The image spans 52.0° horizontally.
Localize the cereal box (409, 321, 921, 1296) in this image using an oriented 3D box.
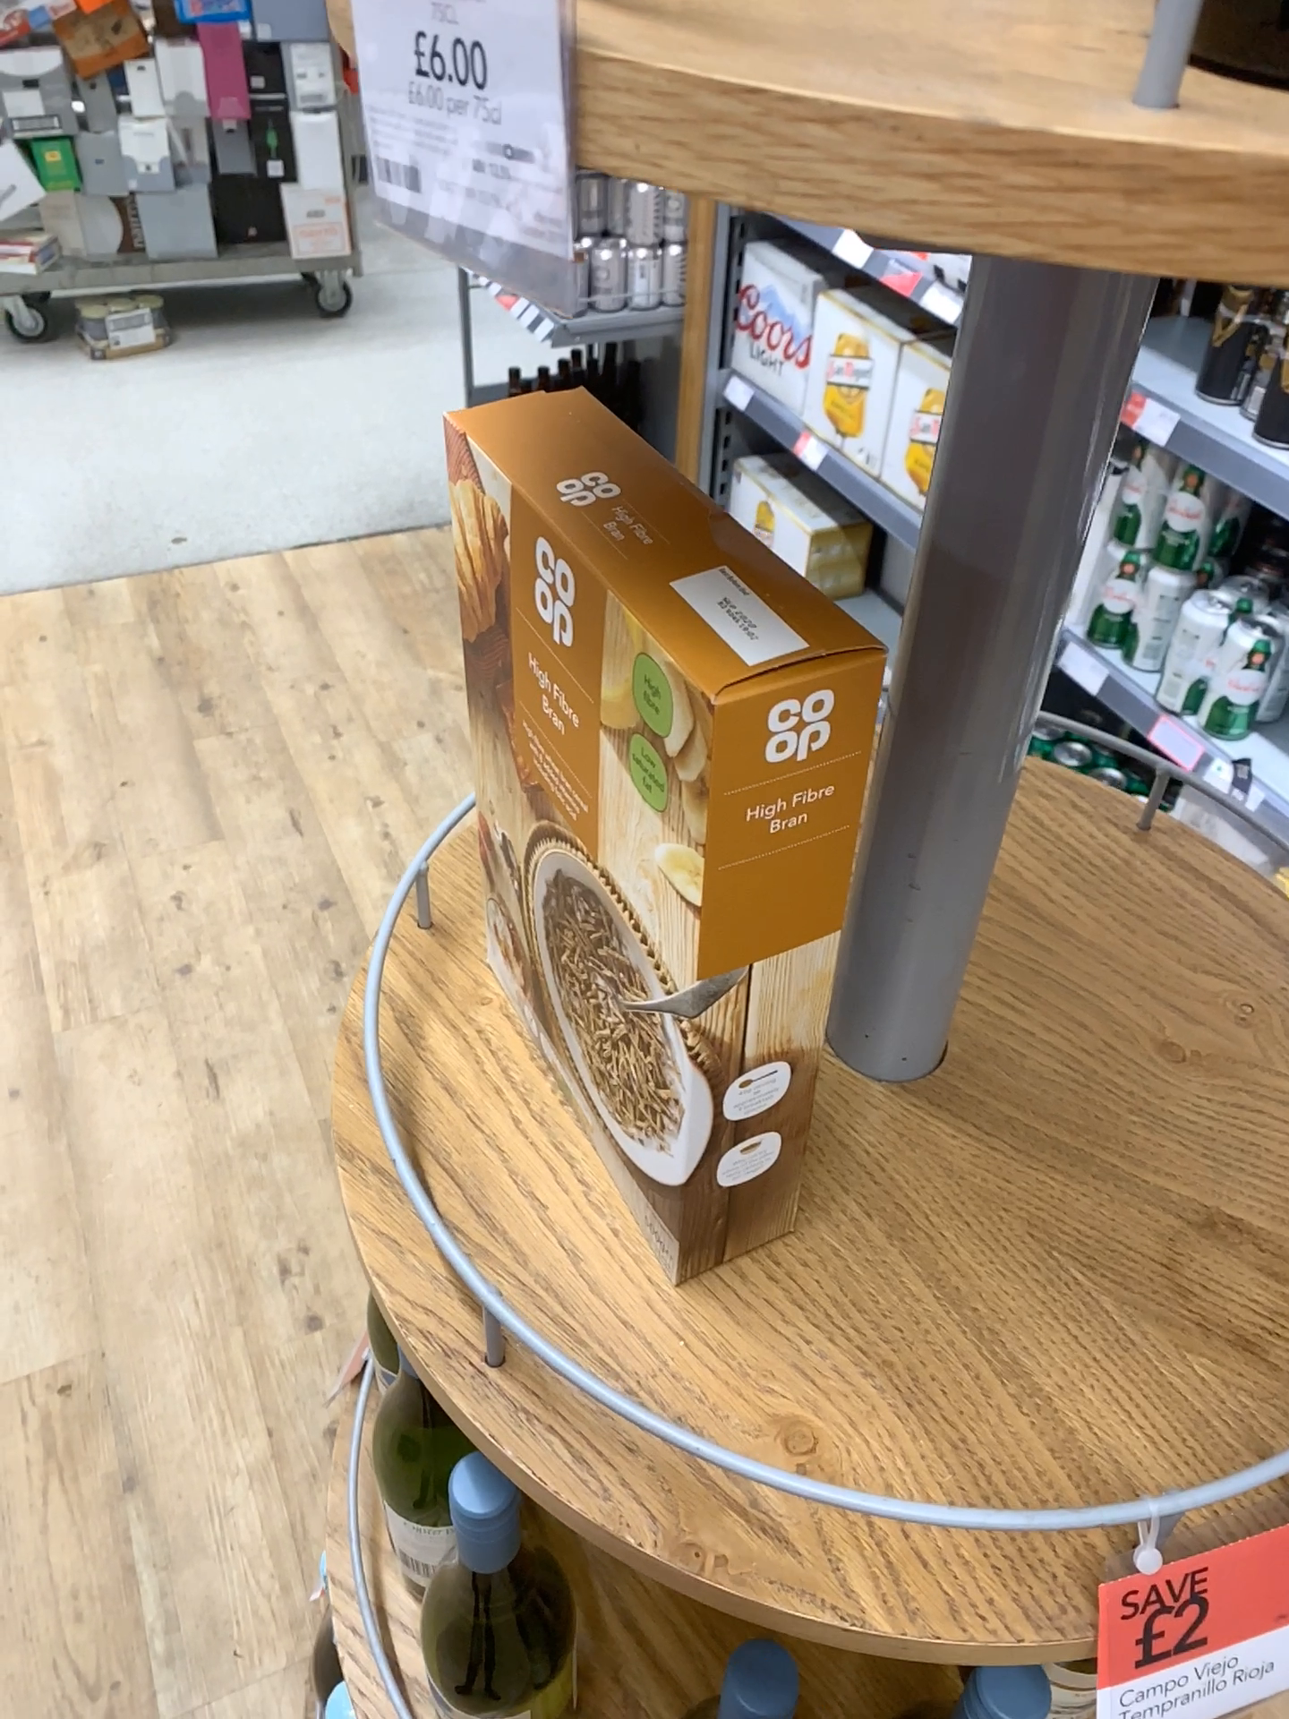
[{"bbox_3d":[-0.008,-0.013,0.470,0.060,0.277,0.202,-18,45,-21],"label":"cereal box"}]
